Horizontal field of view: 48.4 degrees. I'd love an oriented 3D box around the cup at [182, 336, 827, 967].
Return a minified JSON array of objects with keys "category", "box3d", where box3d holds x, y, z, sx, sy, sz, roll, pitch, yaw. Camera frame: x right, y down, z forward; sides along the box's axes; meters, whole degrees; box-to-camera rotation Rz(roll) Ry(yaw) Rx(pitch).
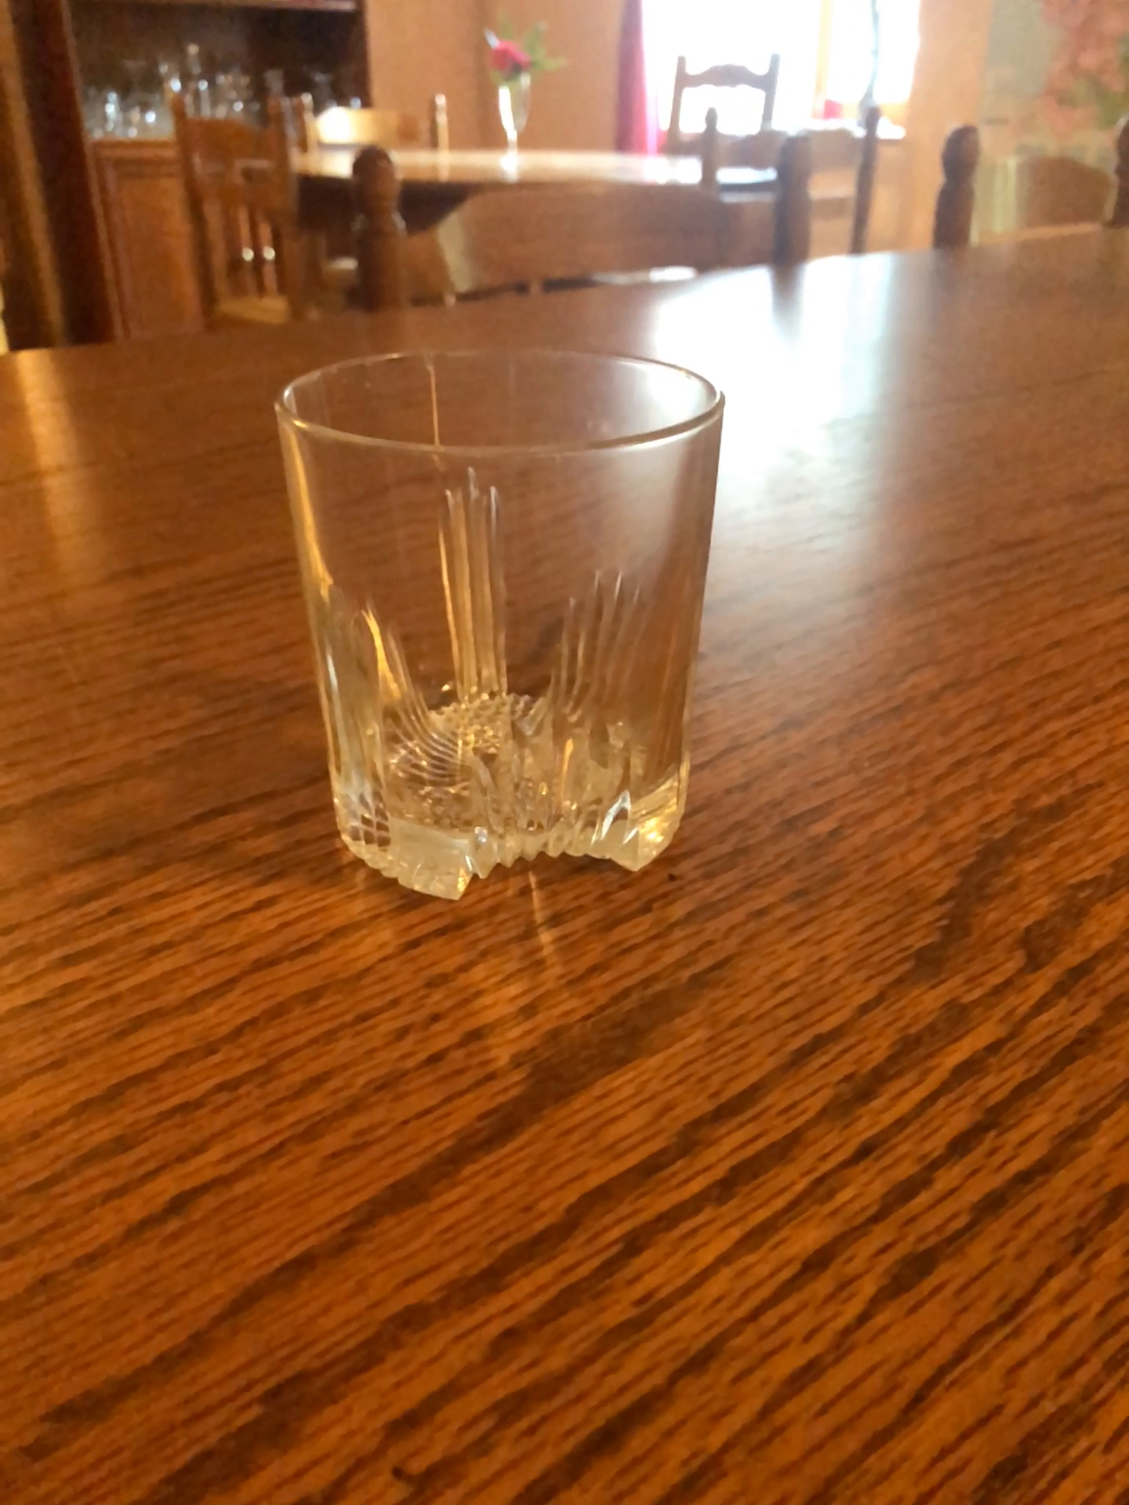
[{"category":"cup","box3d":[-0.010,-0.028,0.245,0.085,0.084,0.080,0,27,0]}]
